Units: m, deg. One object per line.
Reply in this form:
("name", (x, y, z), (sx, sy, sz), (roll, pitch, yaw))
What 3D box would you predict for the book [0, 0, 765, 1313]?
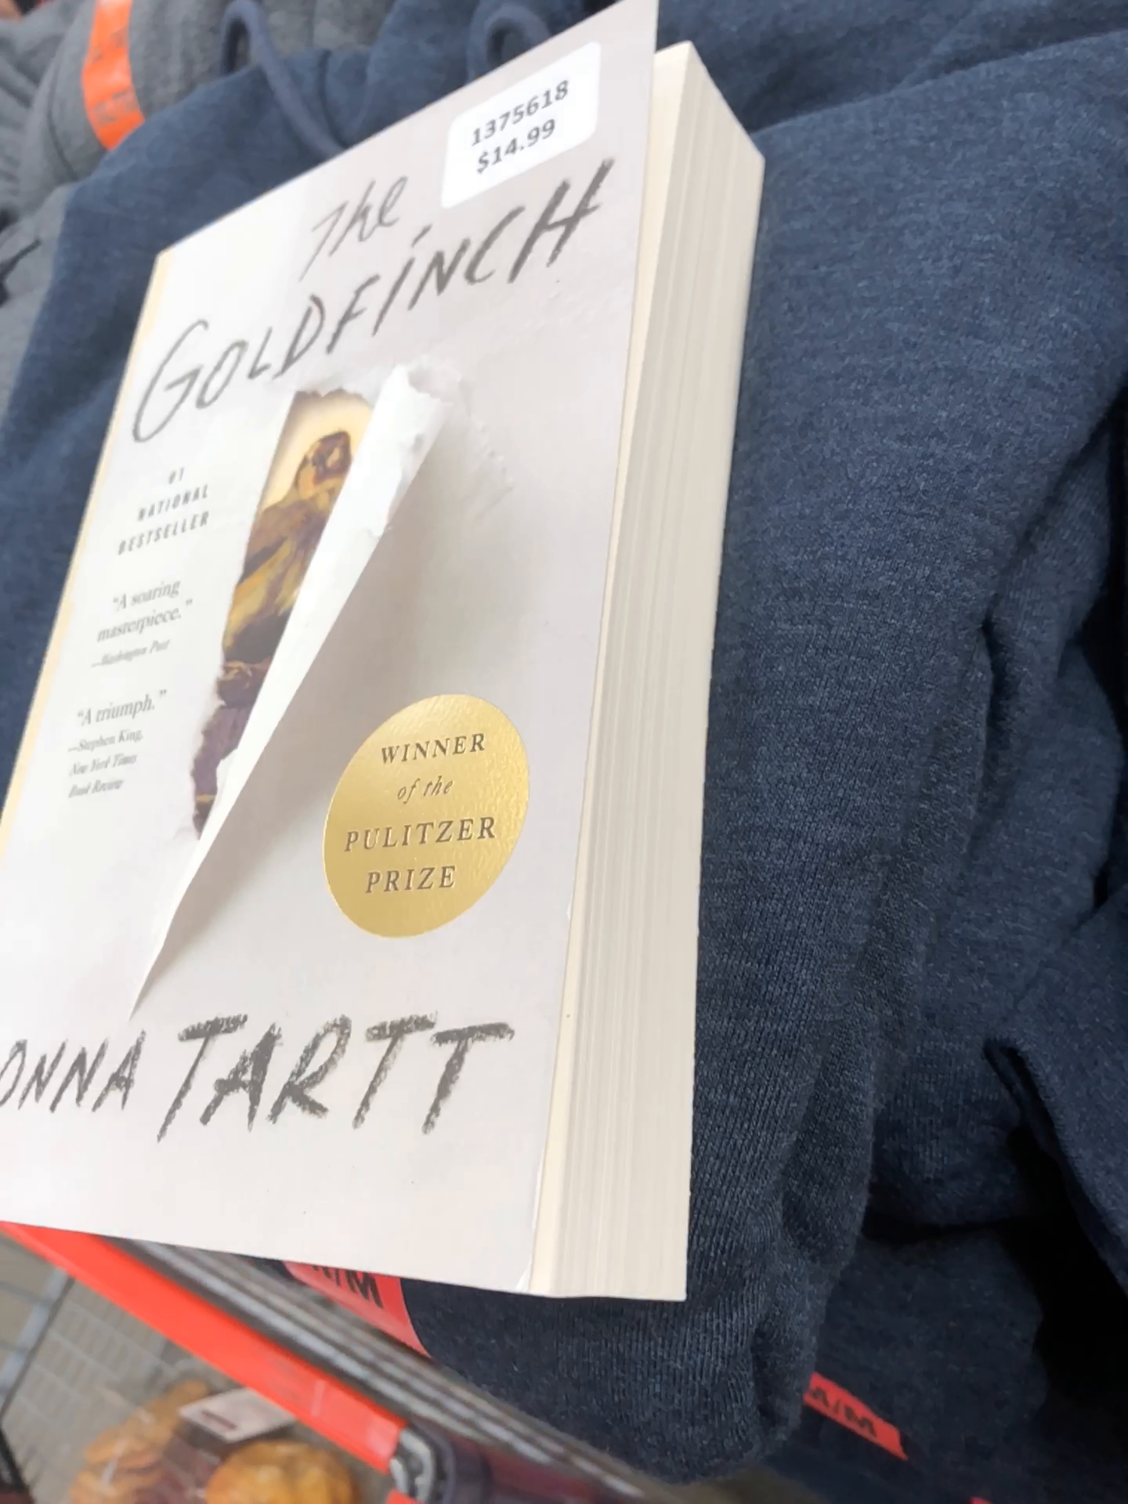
("book", (-0.047, -0.021, 0.247), (0.158, 0.041, 0.222), (-9, 64, 34))
